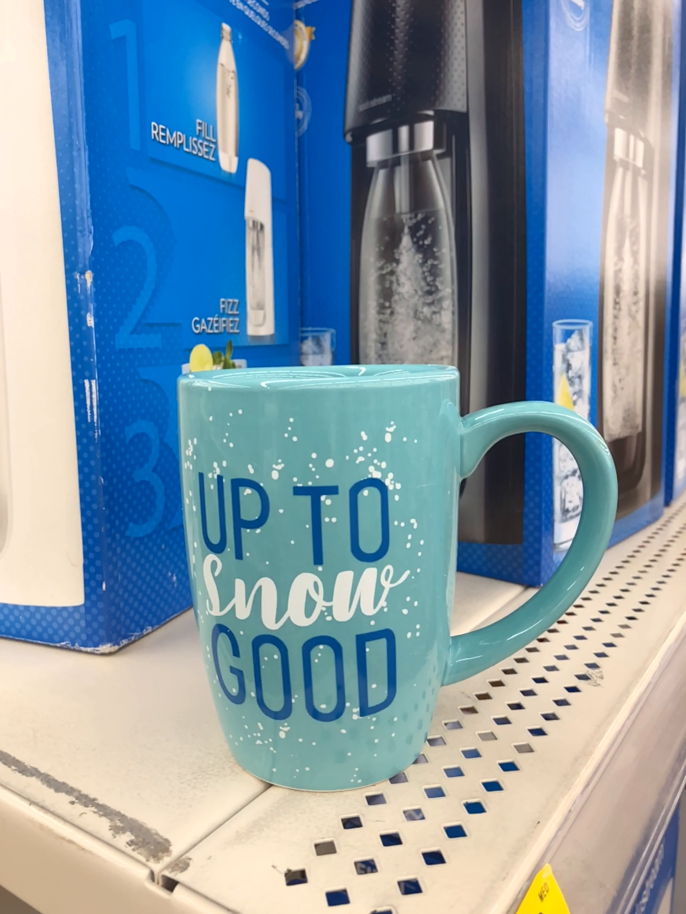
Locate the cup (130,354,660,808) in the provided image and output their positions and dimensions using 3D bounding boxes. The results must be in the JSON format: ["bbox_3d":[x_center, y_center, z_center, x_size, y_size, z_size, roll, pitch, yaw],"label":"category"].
[{"bbox_3d":[0.012,0.028,0.253,0.140,0.120,0.090,-1,9,-6],"label":"cup"}]
